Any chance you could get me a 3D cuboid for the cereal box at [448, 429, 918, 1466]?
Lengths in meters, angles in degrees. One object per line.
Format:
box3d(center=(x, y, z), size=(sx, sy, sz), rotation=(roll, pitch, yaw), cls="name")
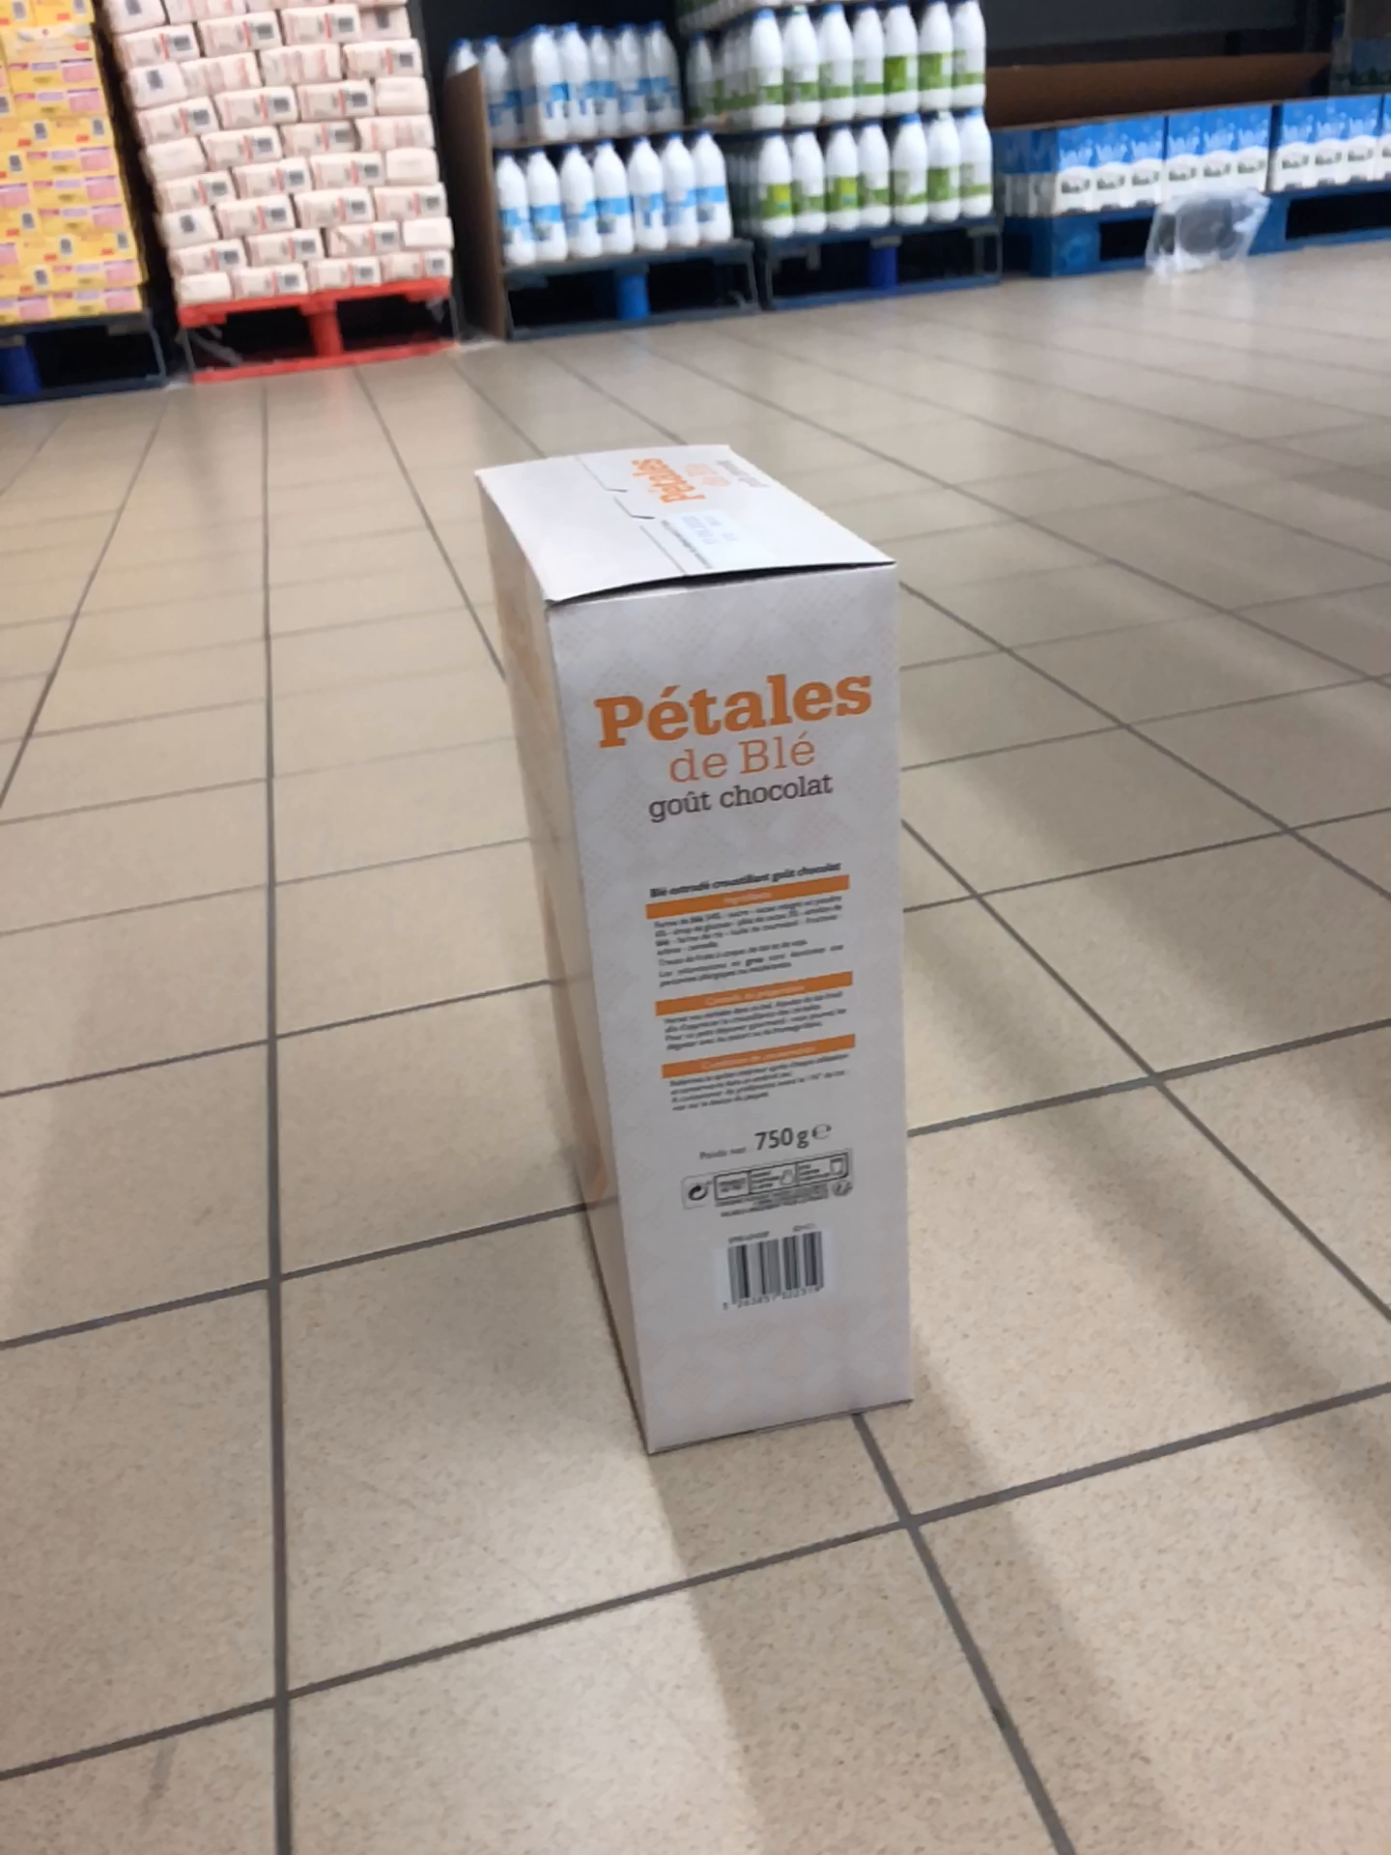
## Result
box3d(center=(-0.006, -0.003, 0.526), size=(0.100, 0.288, 0.191), rotation=(-10, 26, -9), cls="cereal box")
